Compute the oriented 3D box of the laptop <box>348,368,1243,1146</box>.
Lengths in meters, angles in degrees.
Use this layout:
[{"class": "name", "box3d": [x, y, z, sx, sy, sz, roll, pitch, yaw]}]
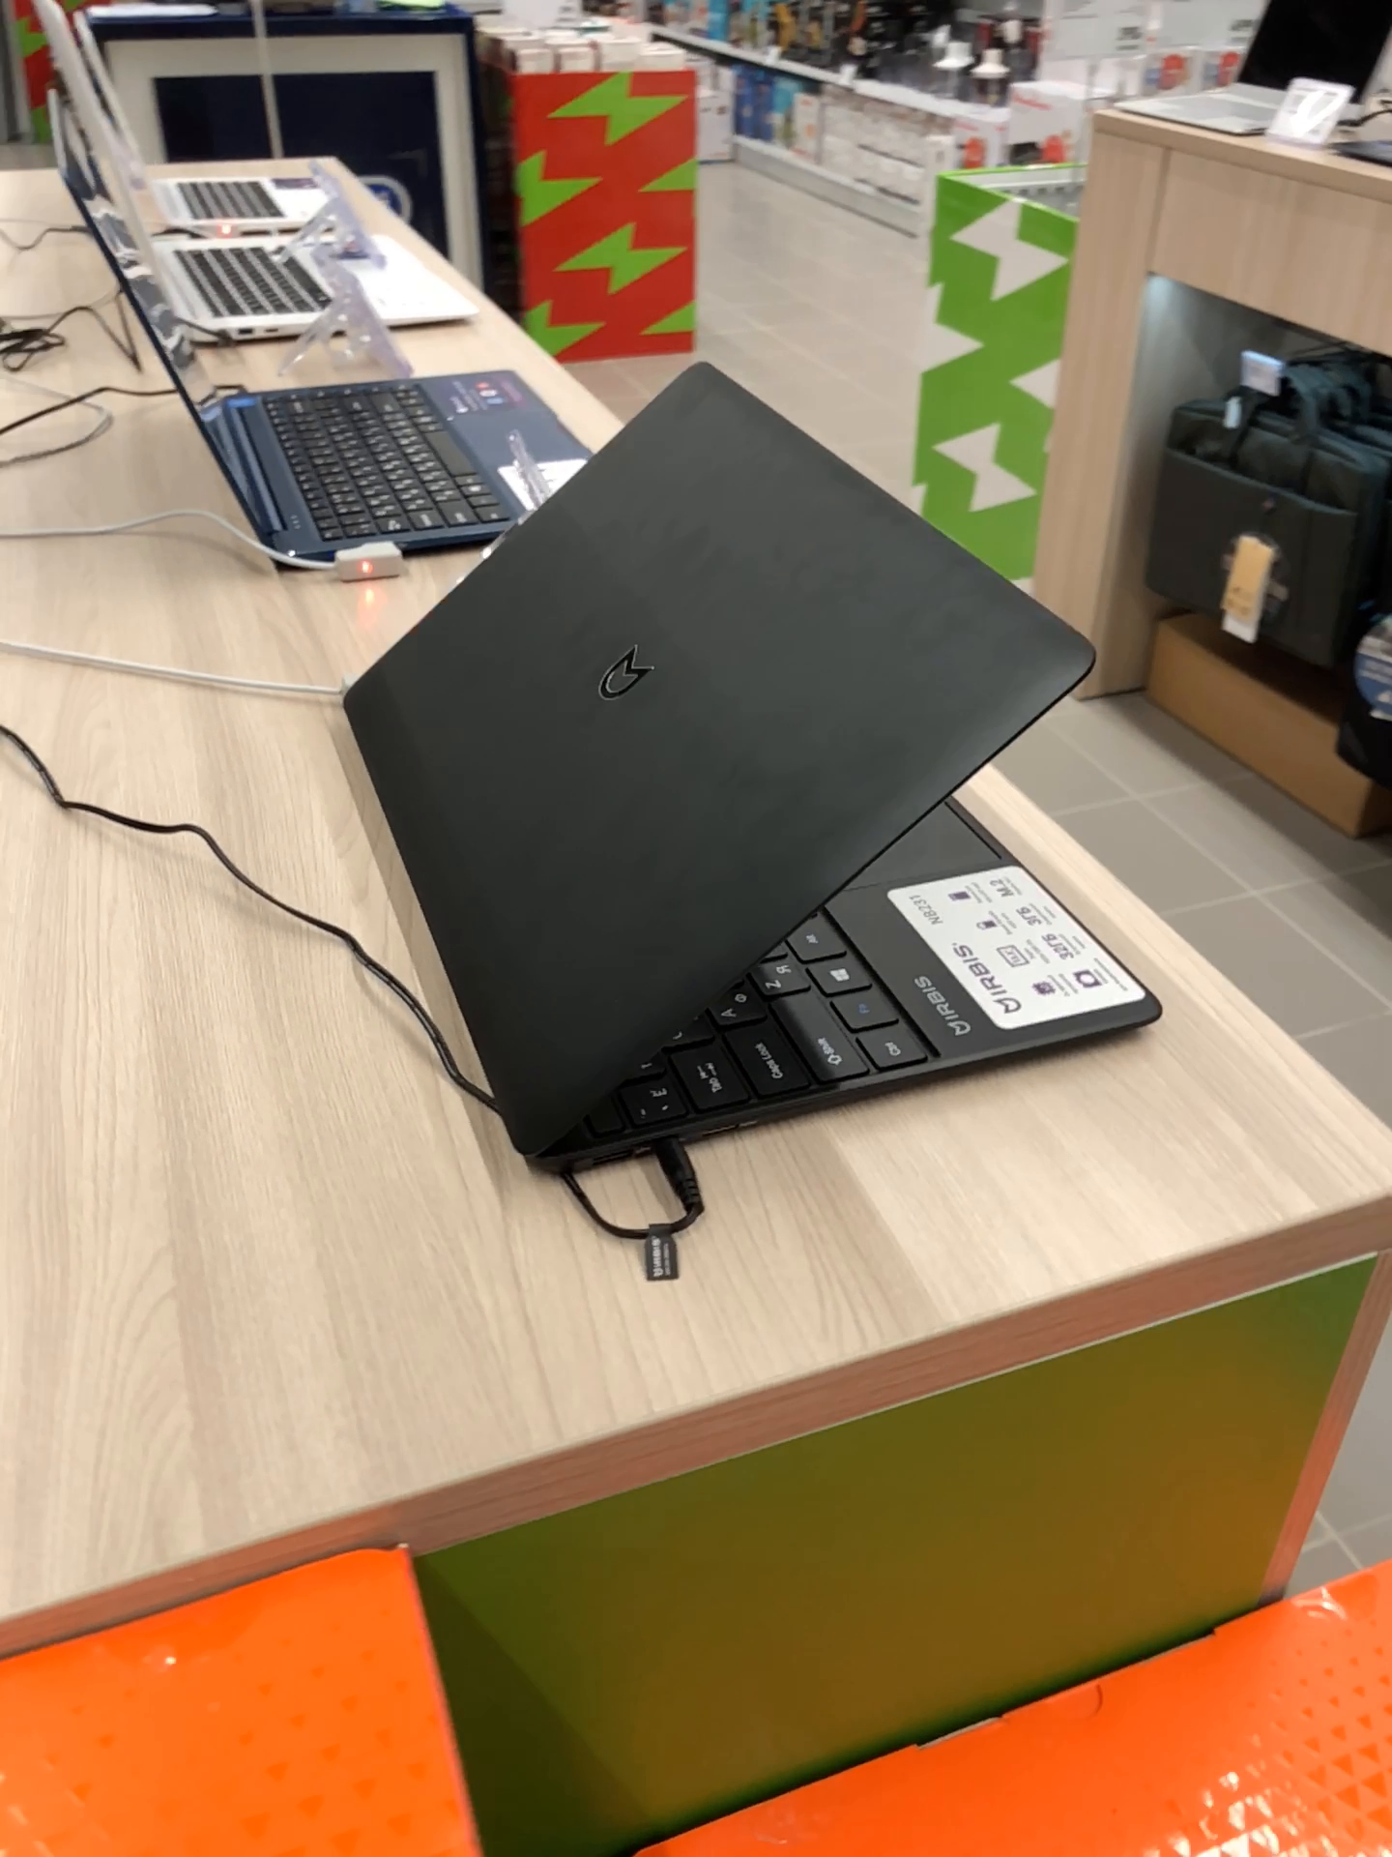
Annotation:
[{"class": "laptop", "box3d": [0.007, -0.090, 0.554, 0.203, 0.132, 0.300, -11, 36, -17]}]
